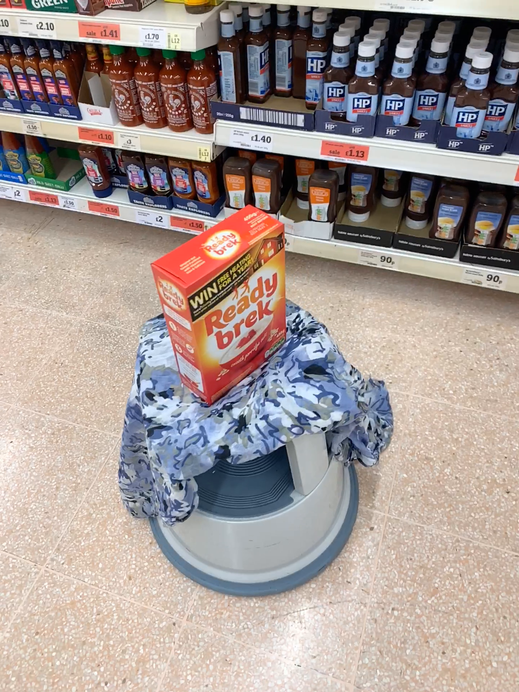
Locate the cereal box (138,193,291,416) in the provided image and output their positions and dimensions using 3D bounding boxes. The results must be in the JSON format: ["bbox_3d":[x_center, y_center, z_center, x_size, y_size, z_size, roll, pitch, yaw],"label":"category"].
[{"bbox_3d":[-0.042,-0.046,0.683,0.171,0.238,0.060,-38,56,-25],"label":"cereal box"}]
